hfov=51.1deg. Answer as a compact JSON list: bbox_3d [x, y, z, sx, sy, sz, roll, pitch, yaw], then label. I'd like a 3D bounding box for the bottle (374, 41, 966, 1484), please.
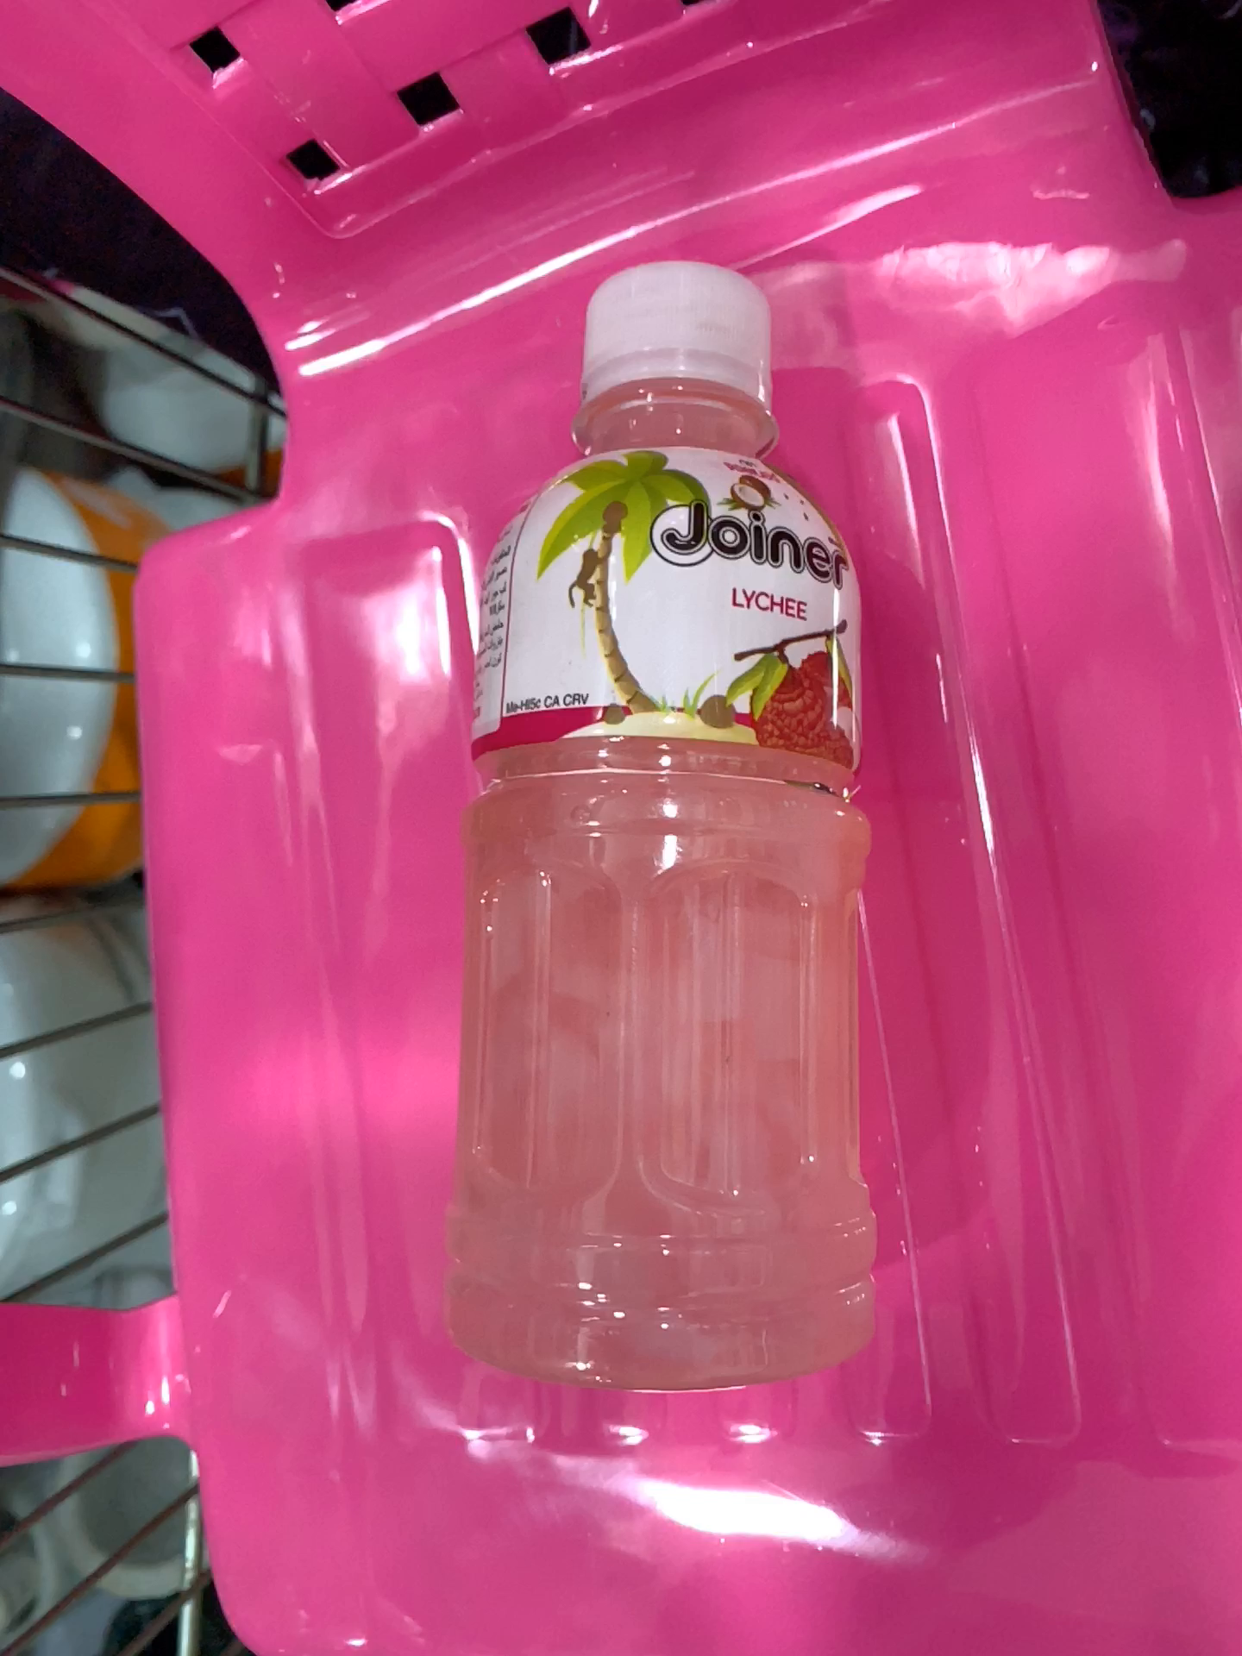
[{"bbox_3d":[0.004,-0.008,0.193,0.060,0.060,0.170,-8,81,53],"label":"bottle"}]
